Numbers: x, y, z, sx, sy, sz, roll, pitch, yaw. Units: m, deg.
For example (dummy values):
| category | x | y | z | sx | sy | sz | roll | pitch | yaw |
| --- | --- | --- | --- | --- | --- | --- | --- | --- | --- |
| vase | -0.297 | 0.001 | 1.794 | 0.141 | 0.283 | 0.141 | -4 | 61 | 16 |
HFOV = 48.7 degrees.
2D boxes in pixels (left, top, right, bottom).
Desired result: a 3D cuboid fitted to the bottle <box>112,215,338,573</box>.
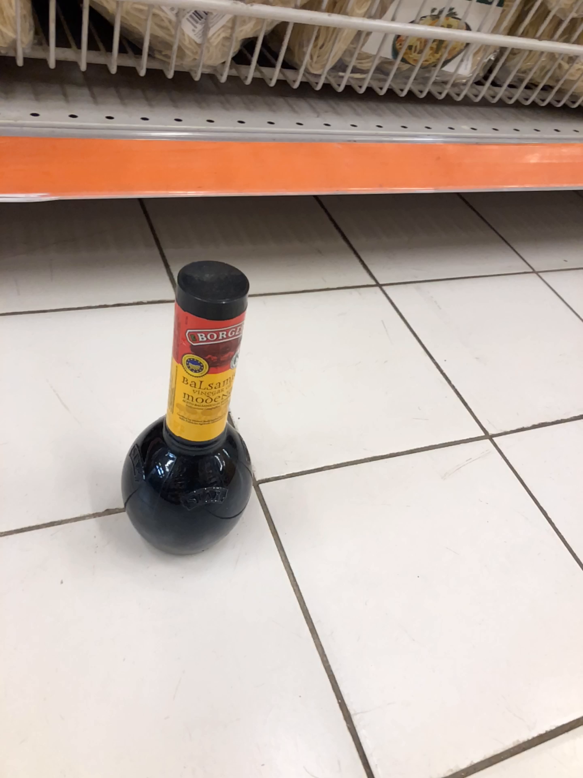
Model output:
| category | x | y | z | sx | sy | sz | roll | pitch | yaw |
| --- | --- | --- | --- | --- | --- | --- | --- | --- | --- |
| bottle | -0.048 | 0.009 | 0.346 | 0.080 | 0.179 | 0.080 | 8 | 44 | -8 |
